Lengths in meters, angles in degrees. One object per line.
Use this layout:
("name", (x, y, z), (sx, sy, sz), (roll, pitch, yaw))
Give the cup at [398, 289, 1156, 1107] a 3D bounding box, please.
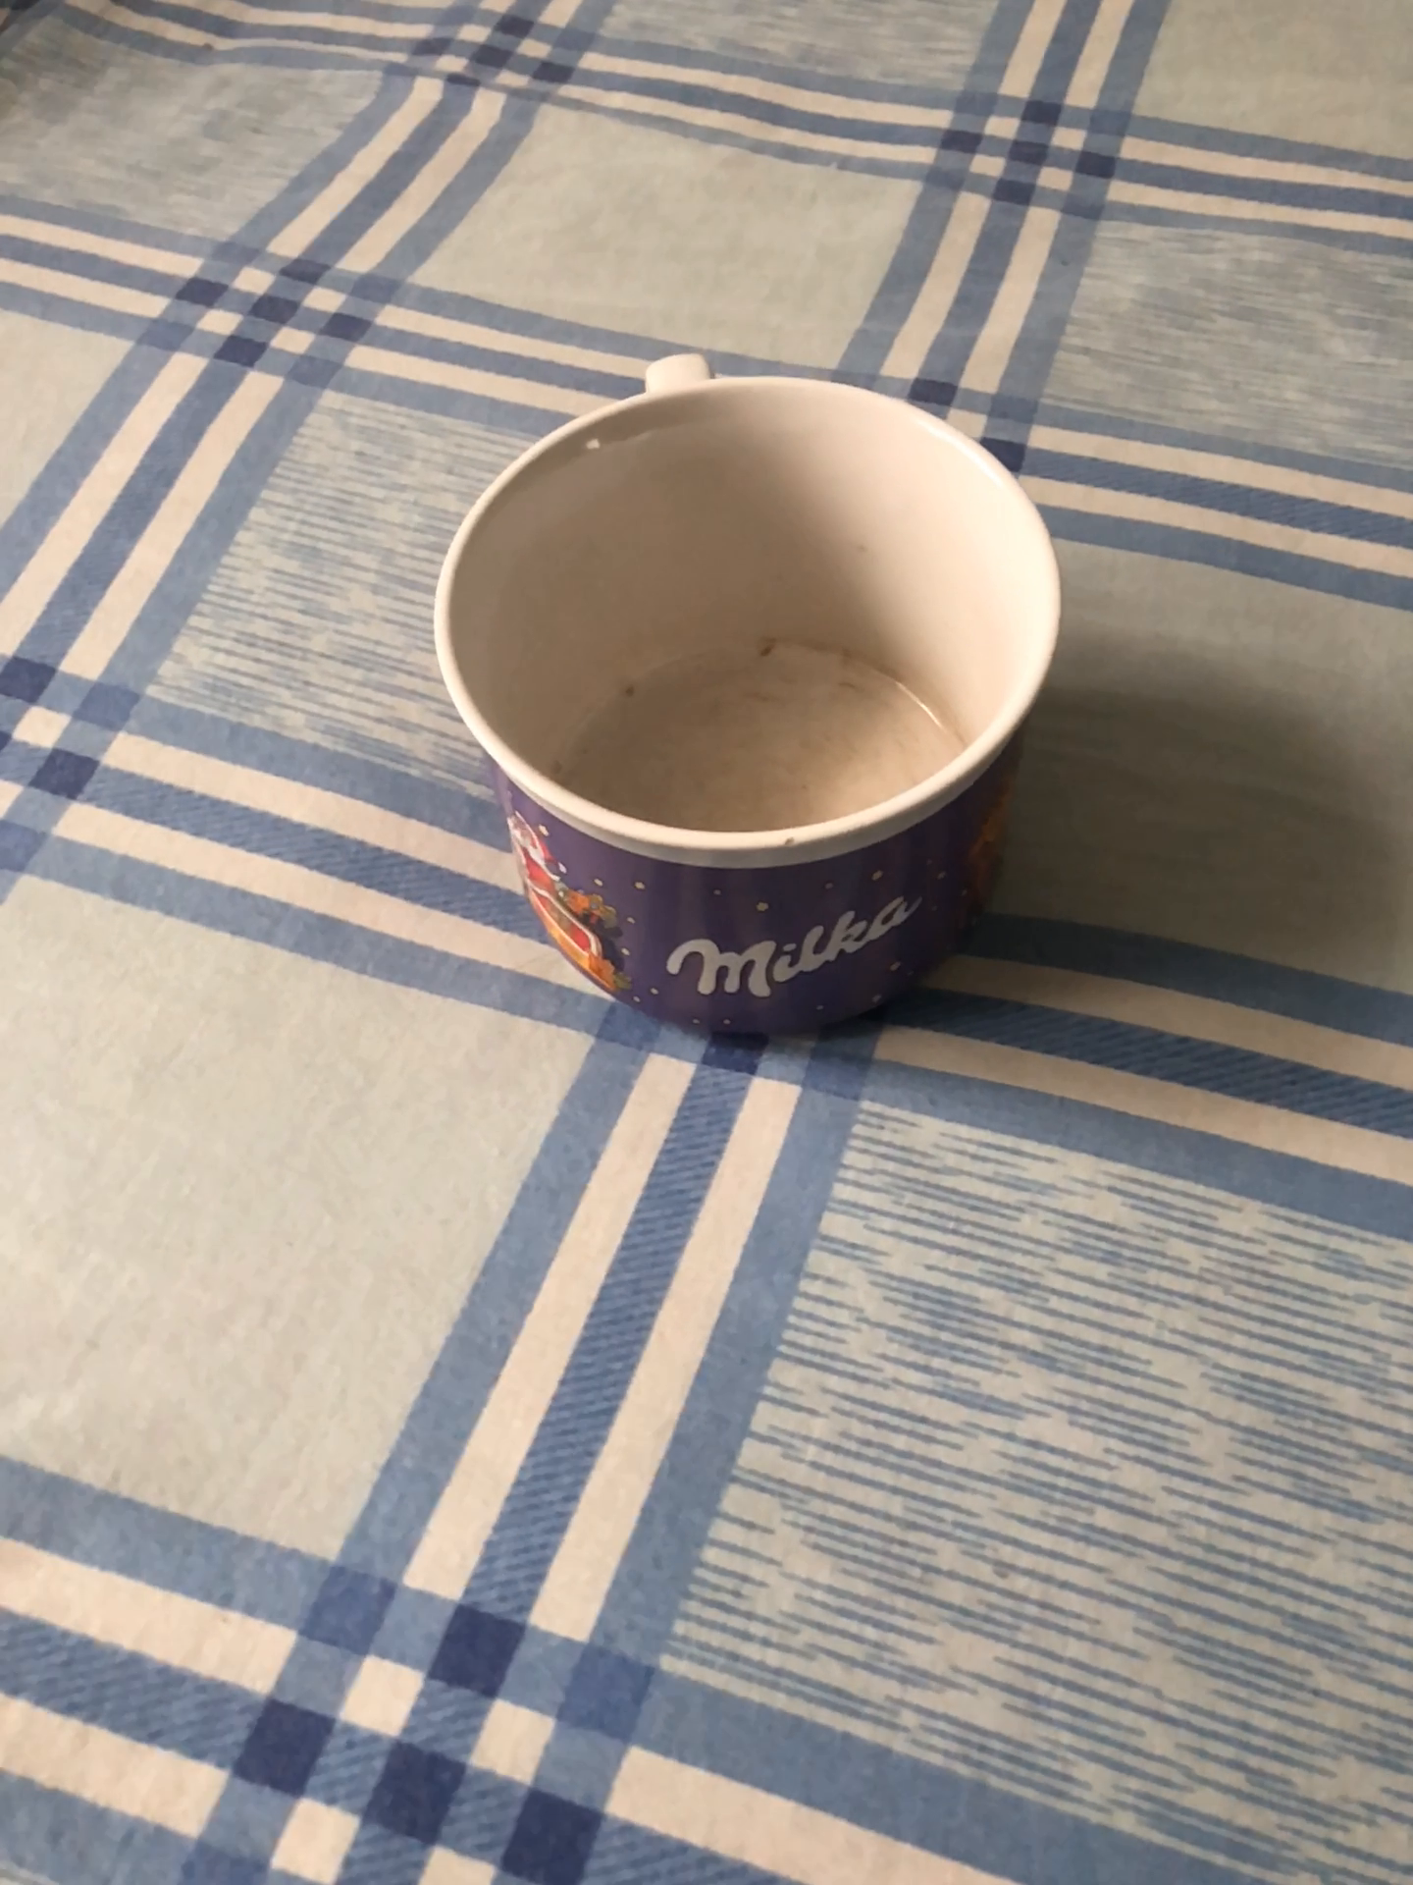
("cup", (0.004, -0.049, 0.288), (0.104, 0.063, 0.131), (-8, 55, -5))
